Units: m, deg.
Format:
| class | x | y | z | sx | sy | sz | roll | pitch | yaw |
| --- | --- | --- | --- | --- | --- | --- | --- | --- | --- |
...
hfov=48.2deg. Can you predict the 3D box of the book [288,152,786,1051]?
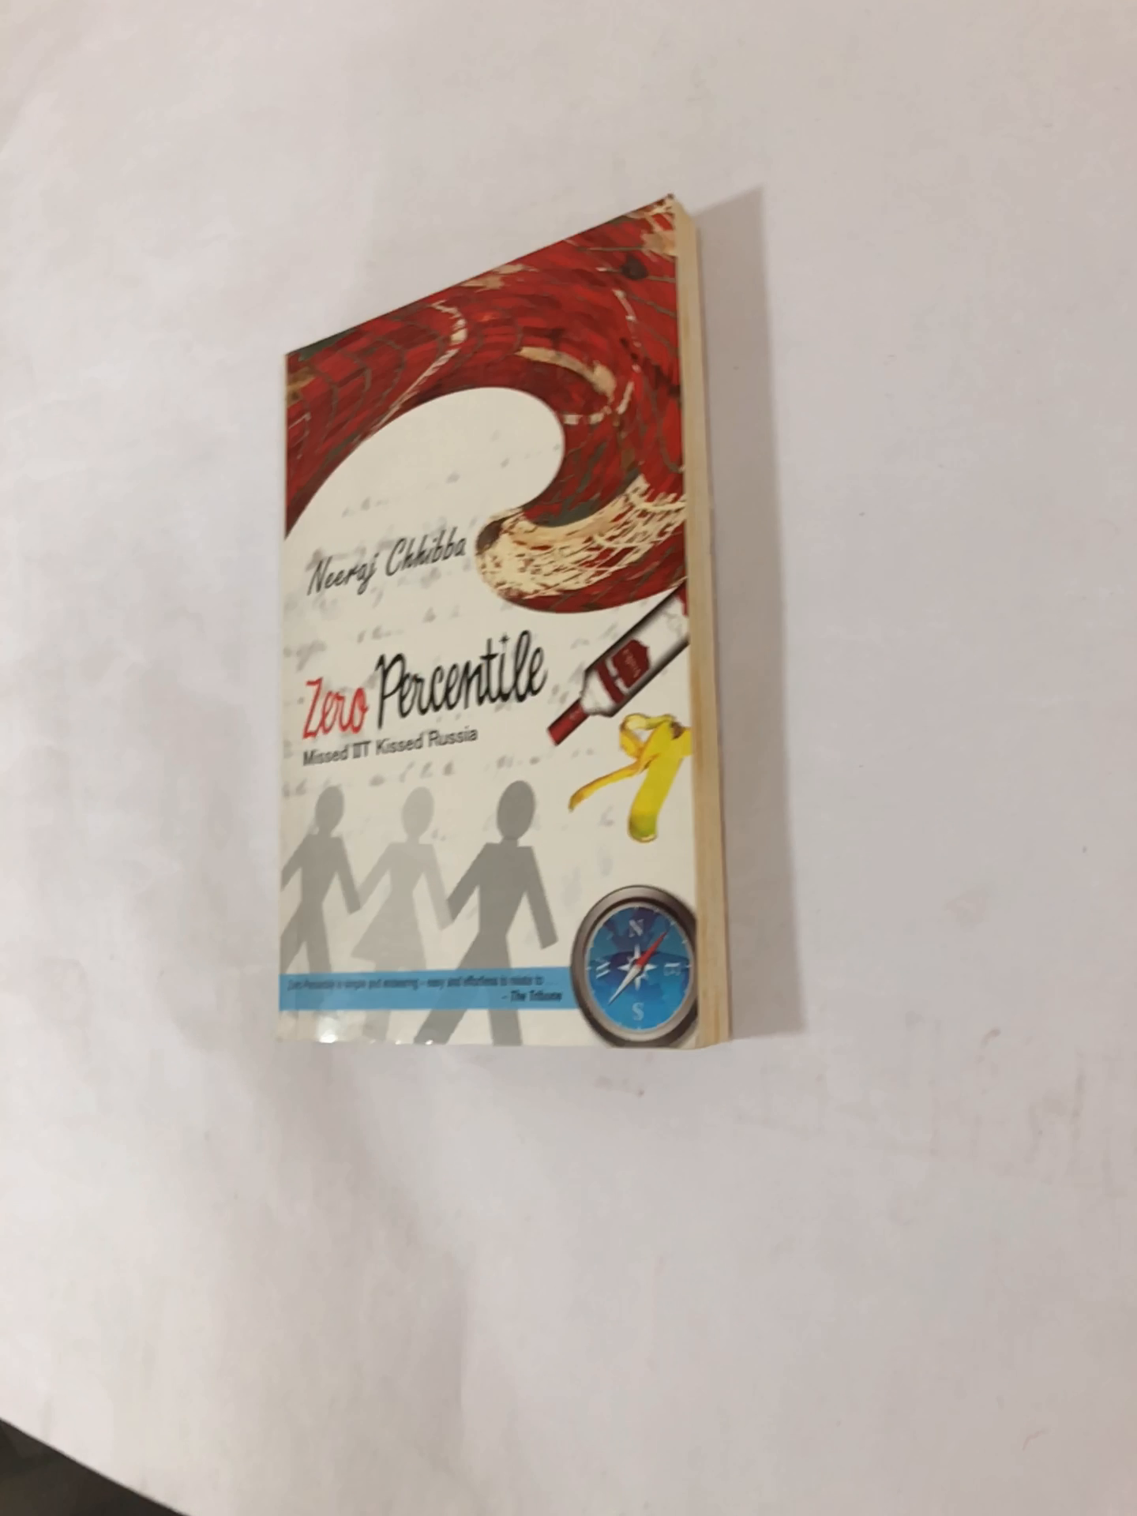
| class | x | y | z | sx | sy | sz | roll | pitch | yaw |
| --- | --- | --- | --- | --- | --- | --- | --- | --- | --- |
| book | -0.014 | -0.031 | 0.320 | 0.132 | 0.021 | 0.200 | -7 | 79 | 35 |
